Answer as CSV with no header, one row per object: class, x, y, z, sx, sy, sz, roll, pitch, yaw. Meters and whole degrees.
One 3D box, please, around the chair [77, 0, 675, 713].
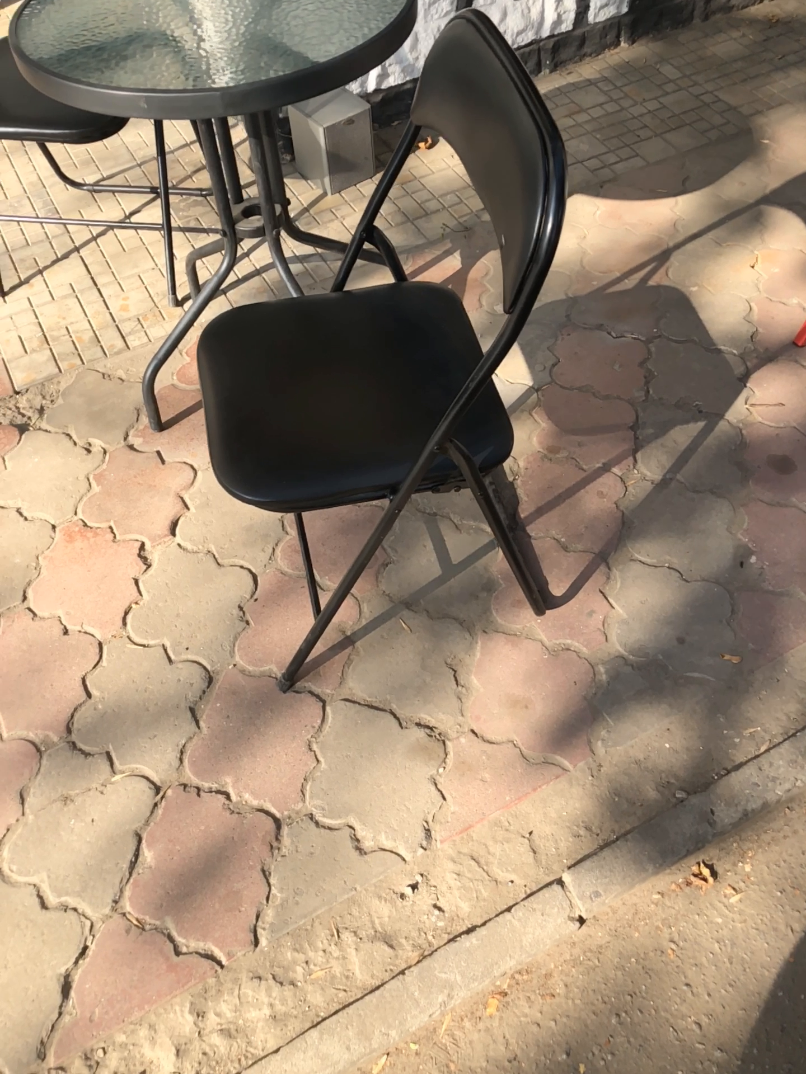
chair,-0.057,-0.216,1.147,0.500,0.638,0.532,-13,51,-7
